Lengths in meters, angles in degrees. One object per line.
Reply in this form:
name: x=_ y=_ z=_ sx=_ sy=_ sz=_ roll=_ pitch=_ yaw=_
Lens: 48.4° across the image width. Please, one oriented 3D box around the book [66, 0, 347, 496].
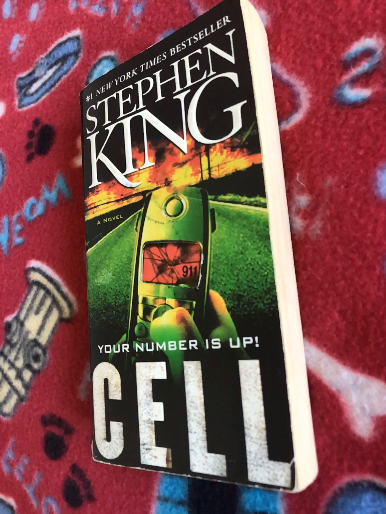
book: x=-0.005 y=-0.009 z=0.204 sx=0.121 sy=0.030 sz=0.200 roll=-10 pitch=79 yaw=32
